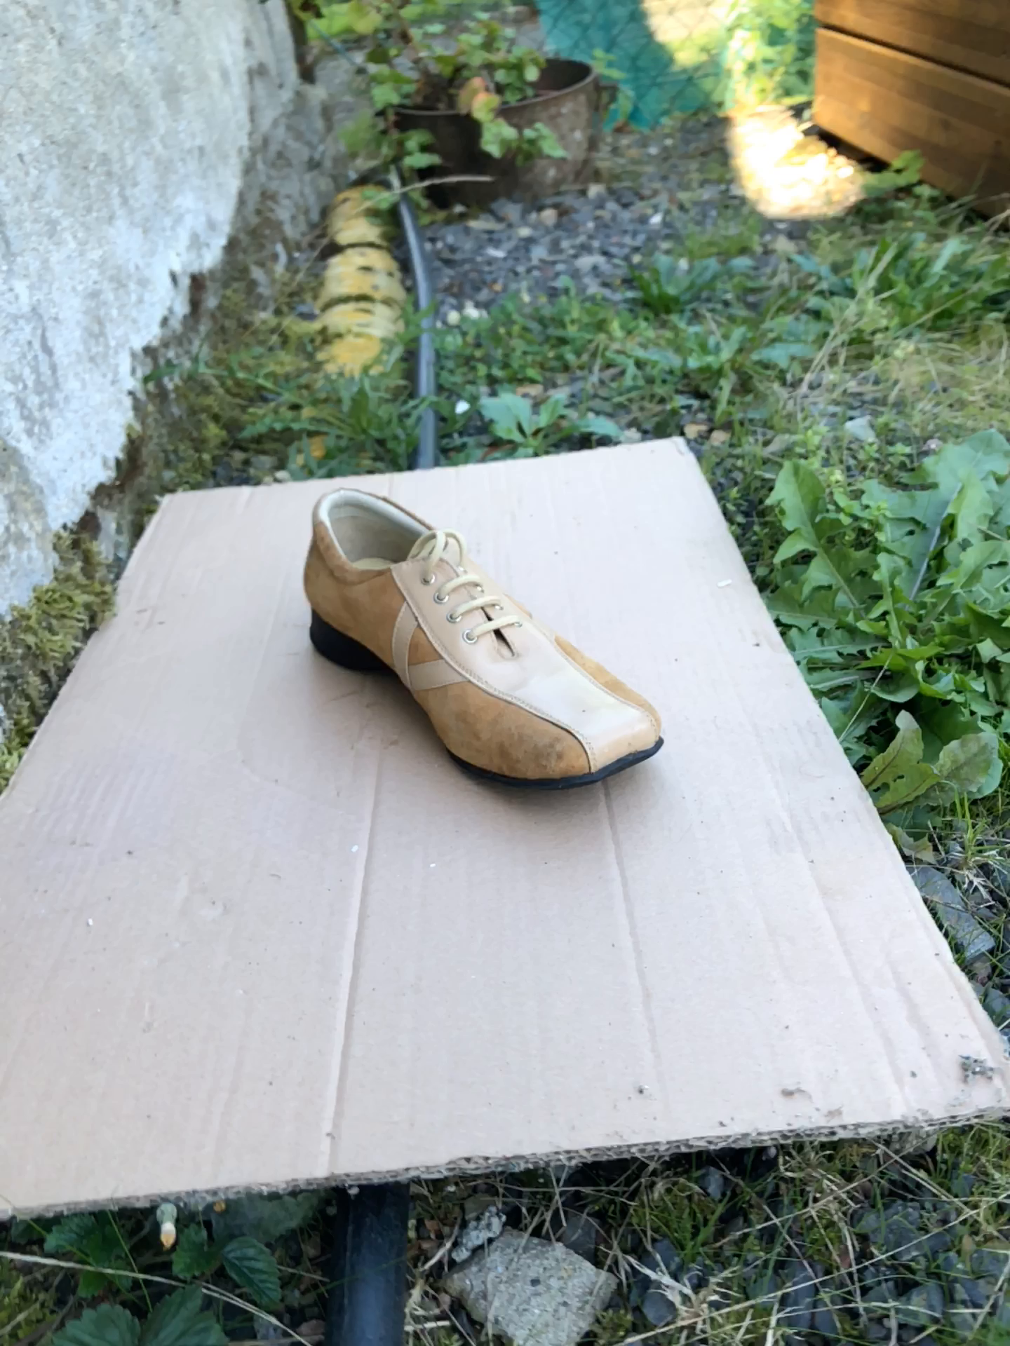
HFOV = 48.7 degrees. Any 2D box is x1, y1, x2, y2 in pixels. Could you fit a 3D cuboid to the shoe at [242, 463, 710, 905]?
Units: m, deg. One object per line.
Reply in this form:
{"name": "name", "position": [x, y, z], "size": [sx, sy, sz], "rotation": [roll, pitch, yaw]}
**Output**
{"name": "shoe", "position": [-0.026, -0.012, 0.578], "size": [0.100, 0.080, 0.271], "rotation": [-29, 41, -22]}
